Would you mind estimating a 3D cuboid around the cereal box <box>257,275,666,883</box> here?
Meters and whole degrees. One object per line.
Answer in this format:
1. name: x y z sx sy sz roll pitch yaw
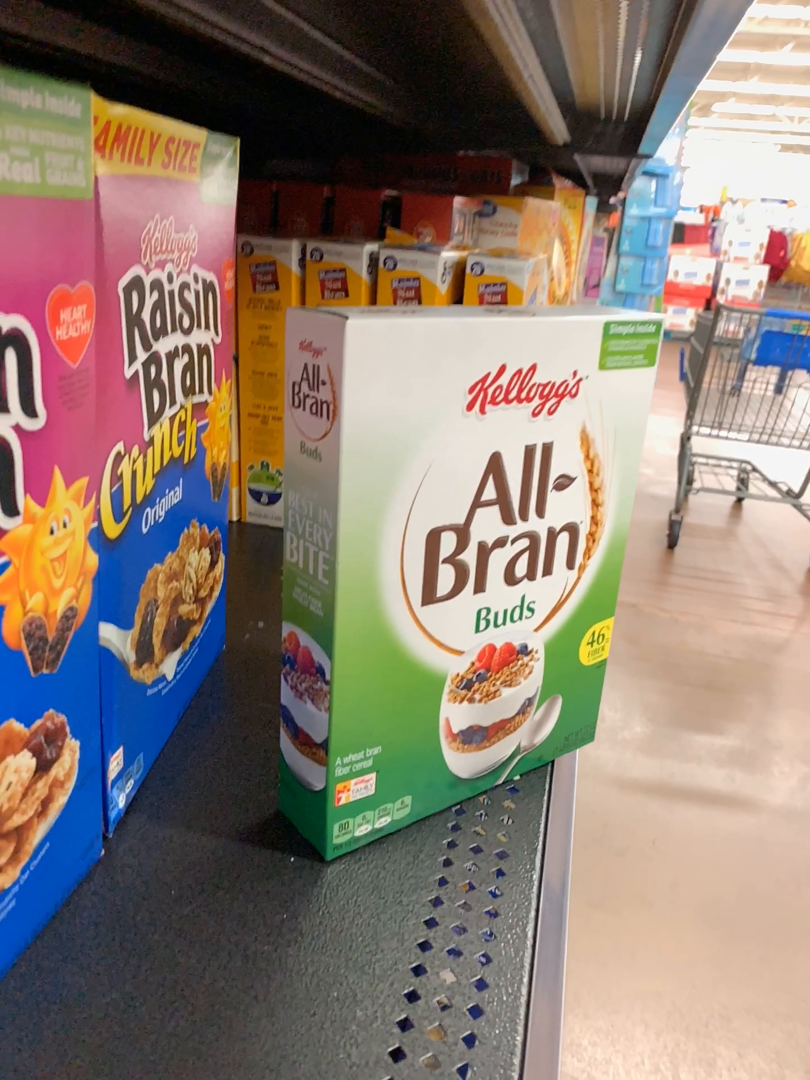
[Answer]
1. cereal box: 0.026 0.011 0.407 0.190 0.259 0.050 -11 24 -36
